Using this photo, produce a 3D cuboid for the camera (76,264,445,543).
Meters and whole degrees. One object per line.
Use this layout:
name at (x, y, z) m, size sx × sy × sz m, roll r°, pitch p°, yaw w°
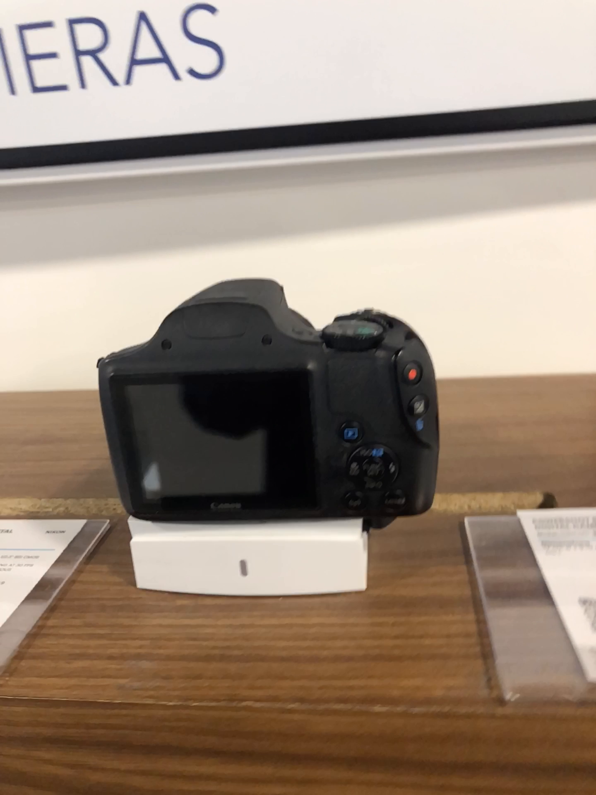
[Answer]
camera at (-0.008, -0.004, 0.274) m, size 0.120 × 0.080 × 0.102 m, roll -3°, pitch 19°, yaw 4°
